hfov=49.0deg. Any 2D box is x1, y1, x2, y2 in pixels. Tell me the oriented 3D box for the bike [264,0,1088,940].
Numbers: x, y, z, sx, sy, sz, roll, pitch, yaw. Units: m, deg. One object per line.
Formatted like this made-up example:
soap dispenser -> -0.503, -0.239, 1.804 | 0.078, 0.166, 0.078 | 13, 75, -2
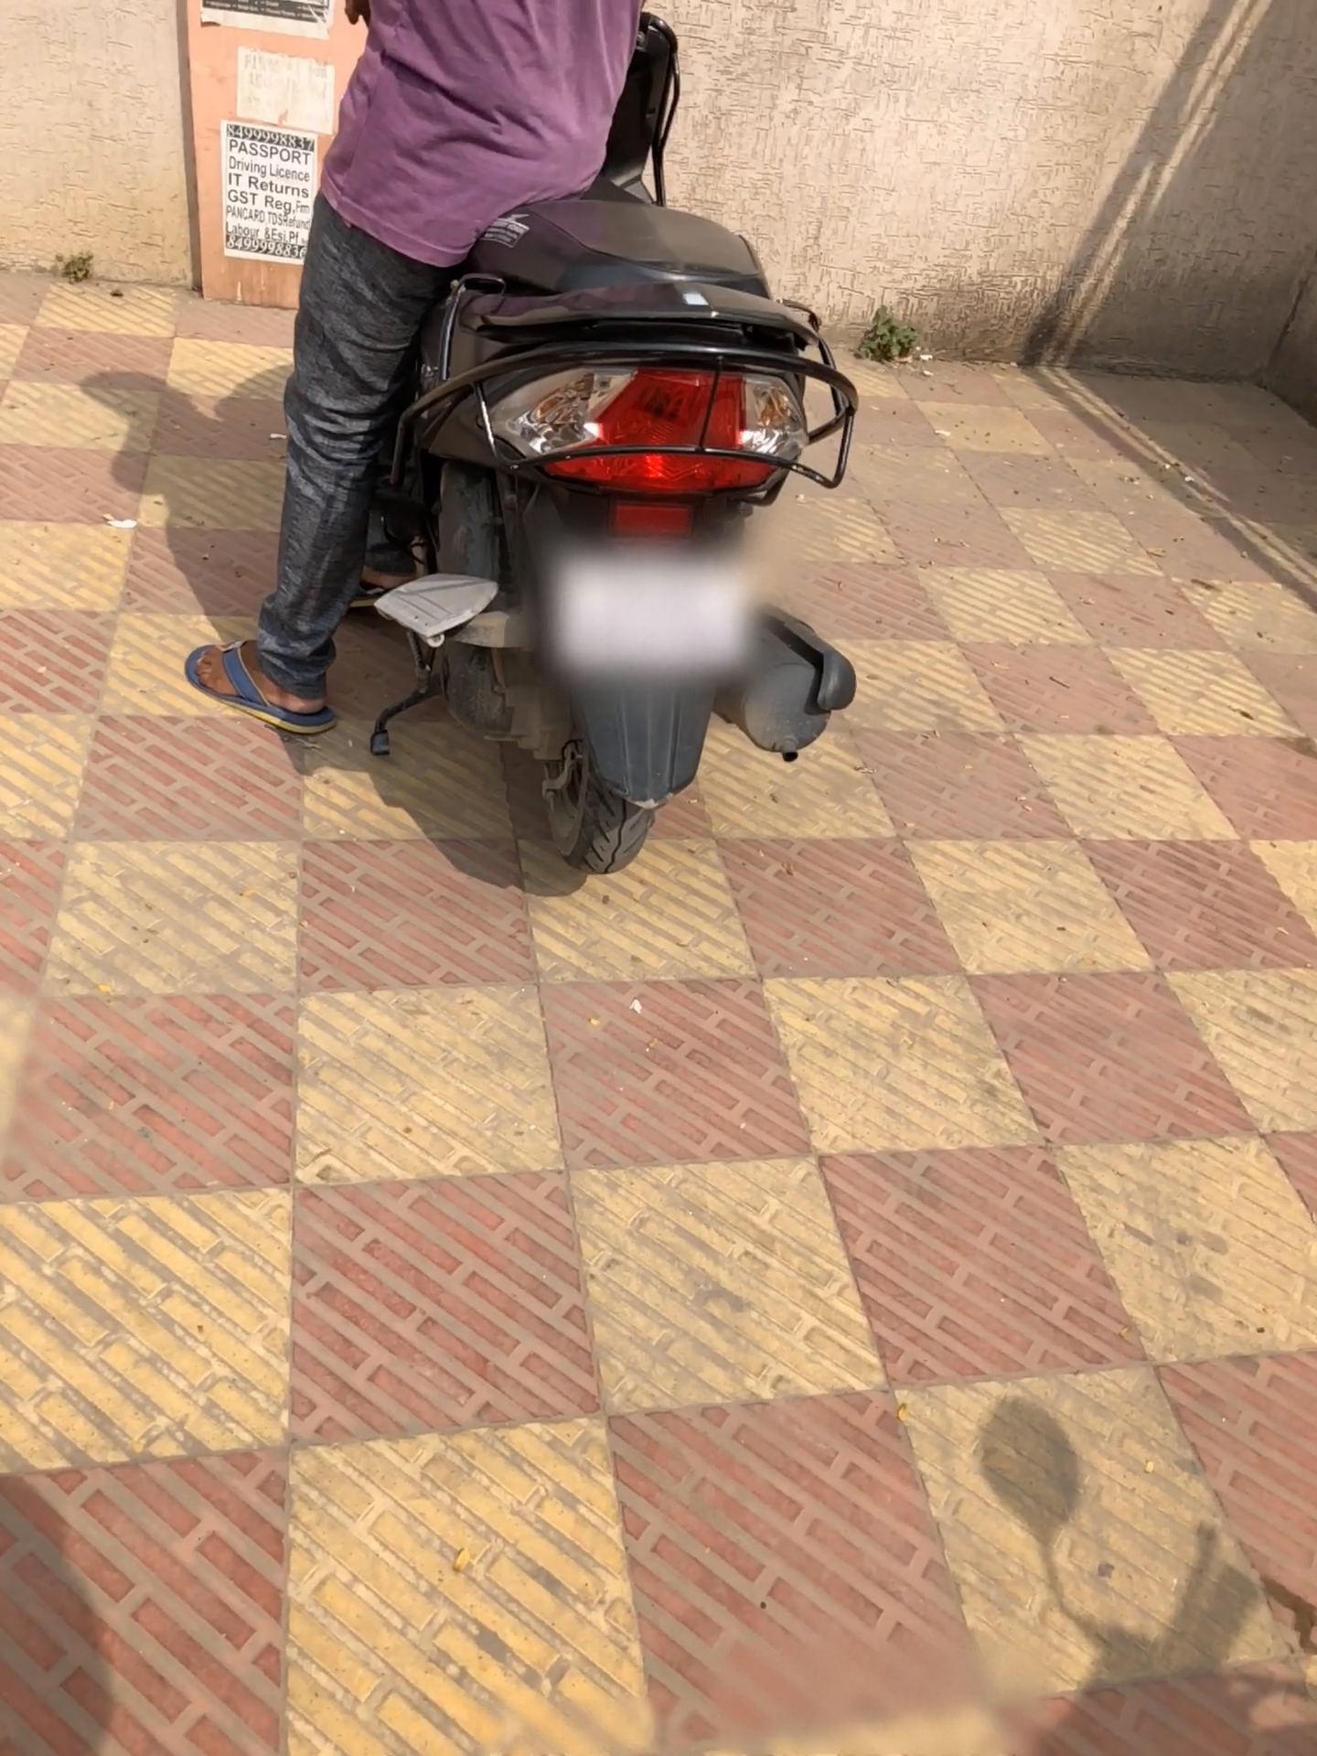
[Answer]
bike -> -0.184, -0.780, 2.070 | 0.575, 0.987, 1.513 | -4, 40, -18
